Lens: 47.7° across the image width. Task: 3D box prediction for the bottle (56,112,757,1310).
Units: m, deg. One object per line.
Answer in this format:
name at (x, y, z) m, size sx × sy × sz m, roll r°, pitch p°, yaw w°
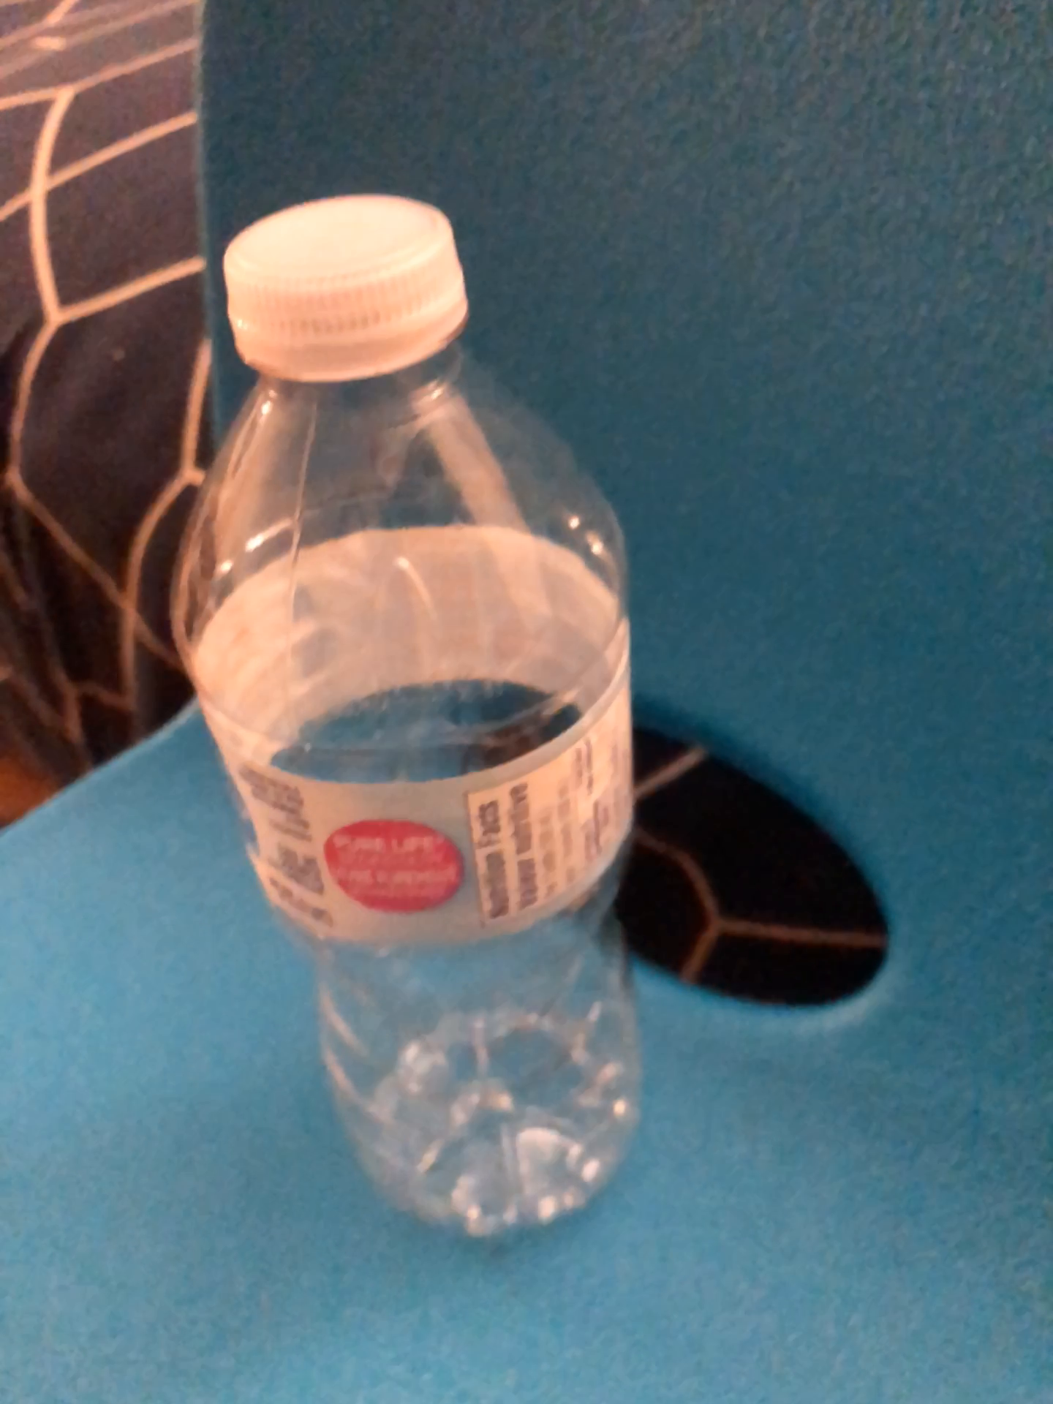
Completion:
bottle at (-0.018, 0.013, 0.203) m, size 0.070 × 0.189 × 0.070 m, roll -1°, pitch 38°, yaw 1°
